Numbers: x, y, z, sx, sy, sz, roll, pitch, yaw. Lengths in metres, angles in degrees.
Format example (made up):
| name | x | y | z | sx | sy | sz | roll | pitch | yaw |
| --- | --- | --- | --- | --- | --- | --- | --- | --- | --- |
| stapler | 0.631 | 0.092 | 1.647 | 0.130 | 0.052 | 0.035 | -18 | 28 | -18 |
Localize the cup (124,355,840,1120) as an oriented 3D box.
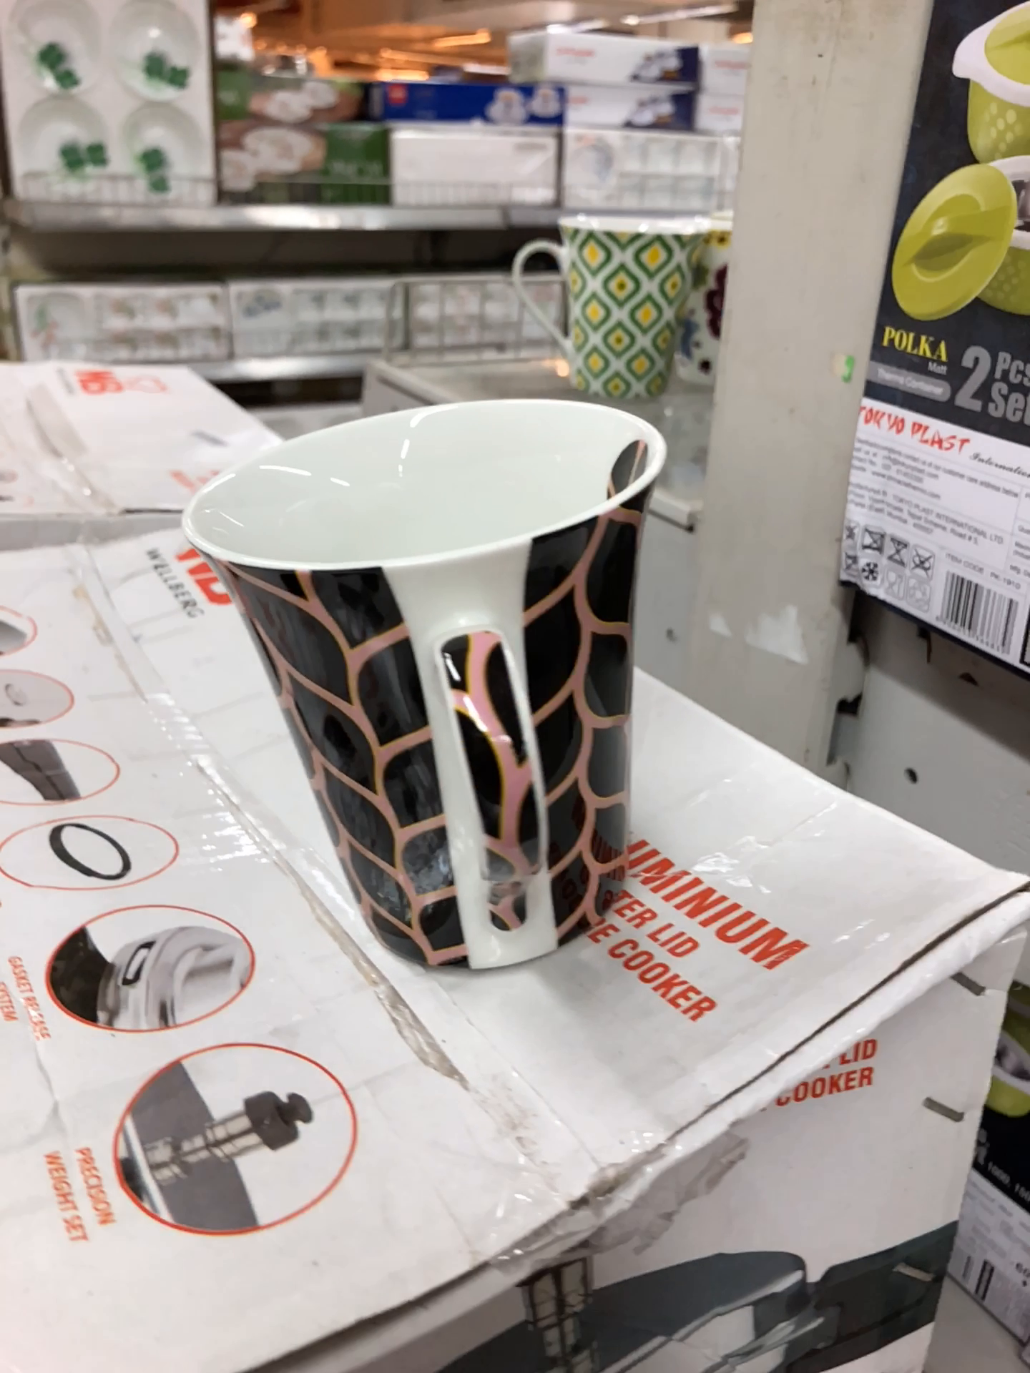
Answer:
| name | x | y | z | sx | sy | sz | roll | pitch | yaw |
| --- | --- | --- | --- | --- | --- | --- | --- | --- | --- |
| cup | -0.011 | -0.004 | 0.207 | 0.090 | 0.080 | 0.111 | -11 | 27 | -11 |
